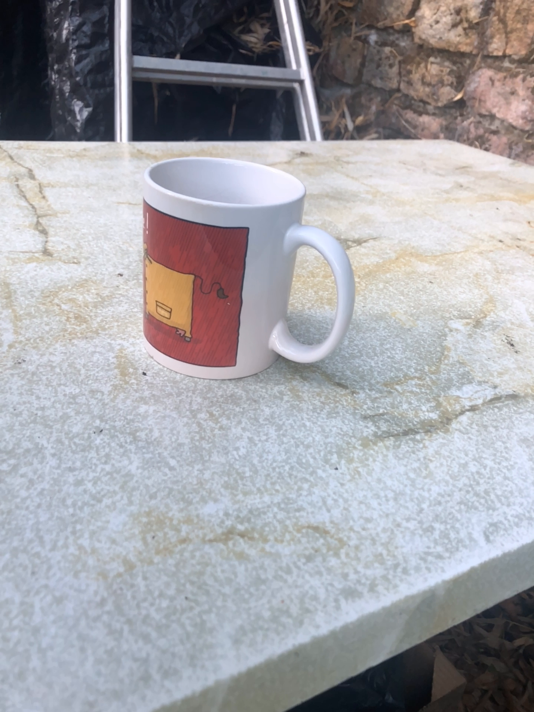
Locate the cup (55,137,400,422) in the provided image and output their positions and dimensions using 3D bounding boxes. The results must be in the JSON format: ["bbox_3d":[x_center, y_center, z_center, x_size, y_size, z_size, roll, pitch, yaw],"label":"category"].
[{"bbox_3d":[-0.018,-0.046,0.286,0.129,0.083,0.087,19,34,22],"label":"cup"}]
